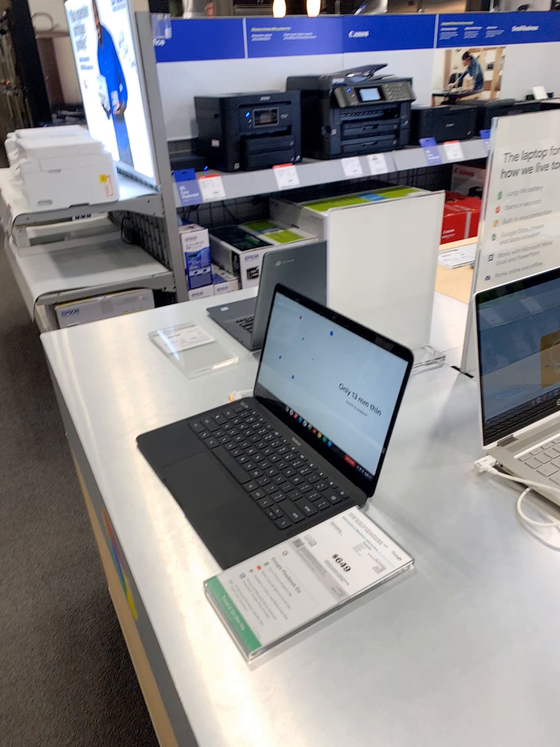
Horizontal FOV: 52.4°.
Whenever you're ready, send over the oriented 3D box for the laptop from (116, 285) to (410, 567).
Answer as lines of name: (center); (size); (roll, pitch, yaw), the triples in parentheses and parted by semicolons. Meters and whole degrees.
laptop: (-0.032, 0.039, 0.751); (0.253, 0.180, 0.295); (-19, 33, -26)
